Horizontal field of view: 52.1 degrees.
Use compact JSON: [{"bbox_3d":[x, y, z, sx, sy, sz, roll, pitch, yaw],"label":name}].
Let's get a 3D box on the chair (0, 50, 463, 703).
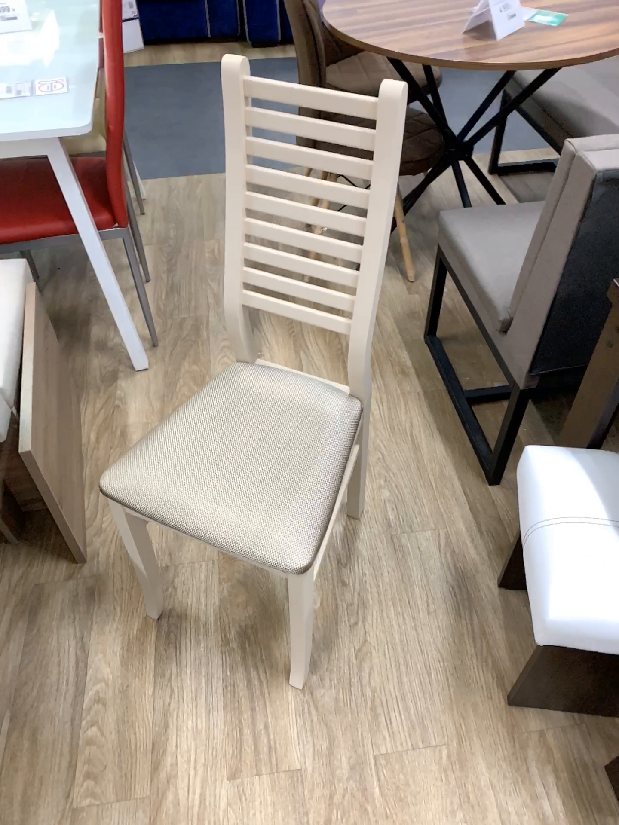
[{"bbox_3d":[-0.092,-0.006,1.154,0.440,0.985,0.552,18,49,18],"label":"chair"}]
